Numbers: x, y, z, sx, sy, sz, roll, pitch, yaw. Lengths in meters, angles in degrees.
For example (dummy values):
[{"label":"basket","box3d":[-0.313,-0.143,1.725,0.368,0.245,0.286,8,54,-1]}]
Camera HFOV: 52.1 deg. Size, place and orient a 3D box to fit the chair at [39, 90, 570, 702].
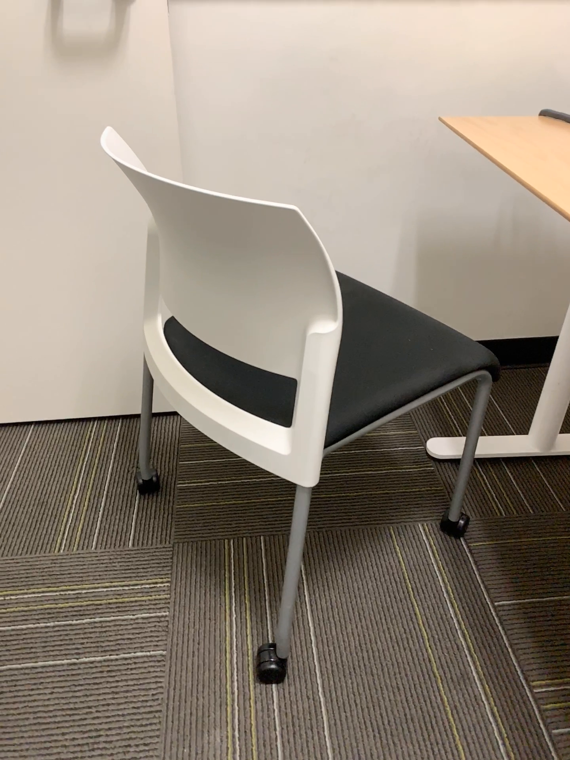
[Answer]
[{"label":"chair","box3d":[0.024,-0.039,1.052,0.580,0.755,0.613,-21,40,-28]}]
